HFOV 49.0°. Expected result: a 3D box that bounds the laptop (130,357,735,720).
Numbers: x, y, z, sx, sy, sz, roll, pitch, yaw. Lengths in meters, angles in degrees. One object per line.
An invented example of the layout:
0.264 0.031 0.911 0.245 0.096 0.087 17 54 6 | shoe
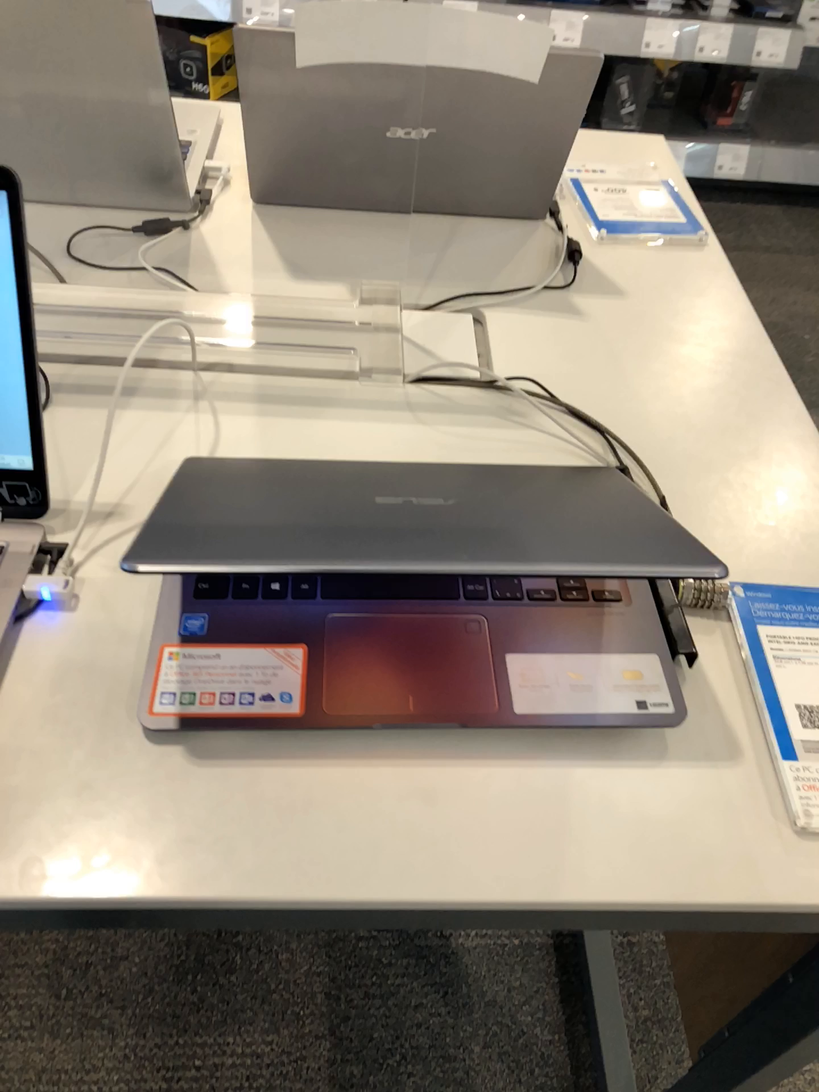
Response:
0.006 -0.008 0.546 0.300 0.099 0.202 1 47 -6 | laptop
